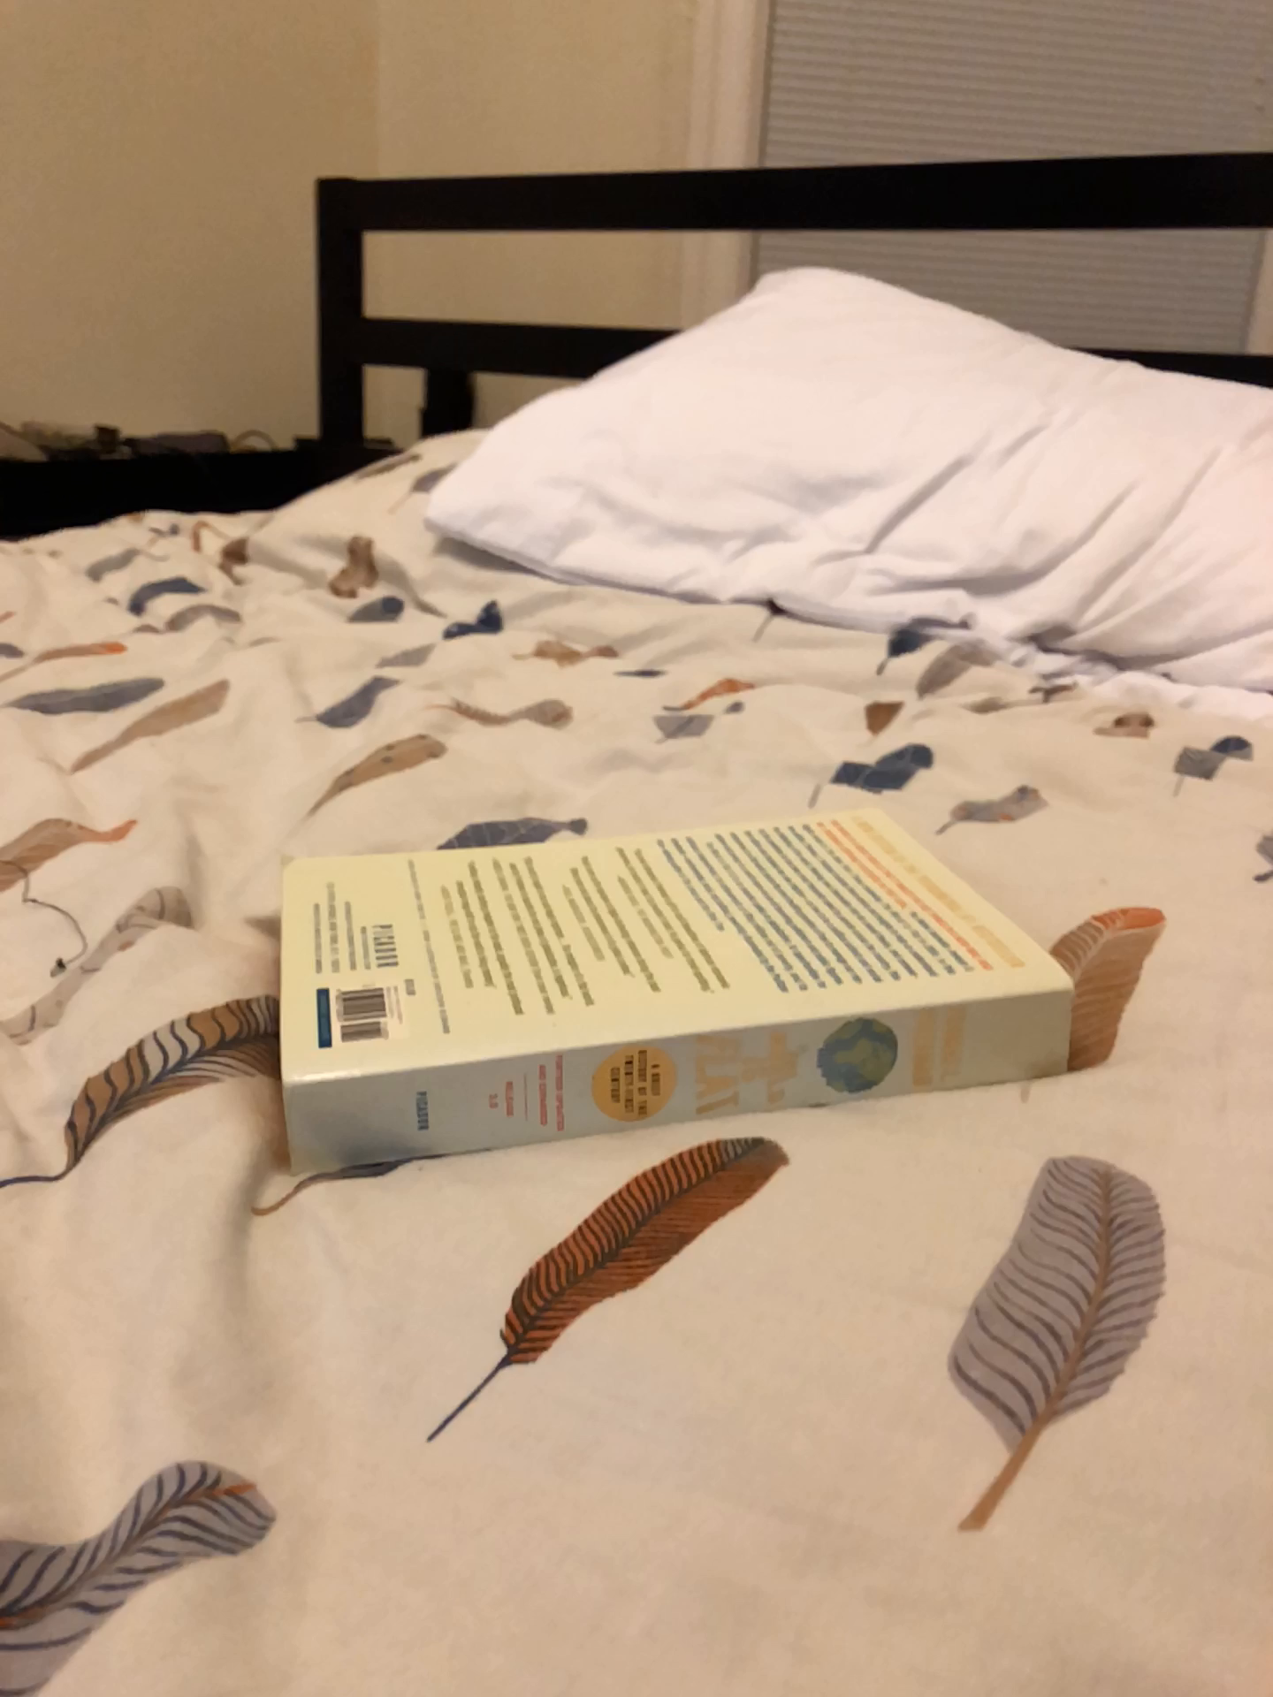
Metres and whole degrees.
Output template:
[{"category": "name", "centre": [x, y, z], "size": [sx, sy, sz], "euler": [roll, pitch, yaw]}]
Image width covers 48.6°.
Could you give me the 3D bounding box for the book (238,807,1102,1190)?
[{"category": "book", "centre": [-0.002, 0.032, 0.422], "size": [0.220, 0.040, 0.150], "euler": [-4, 17, -16]}]
